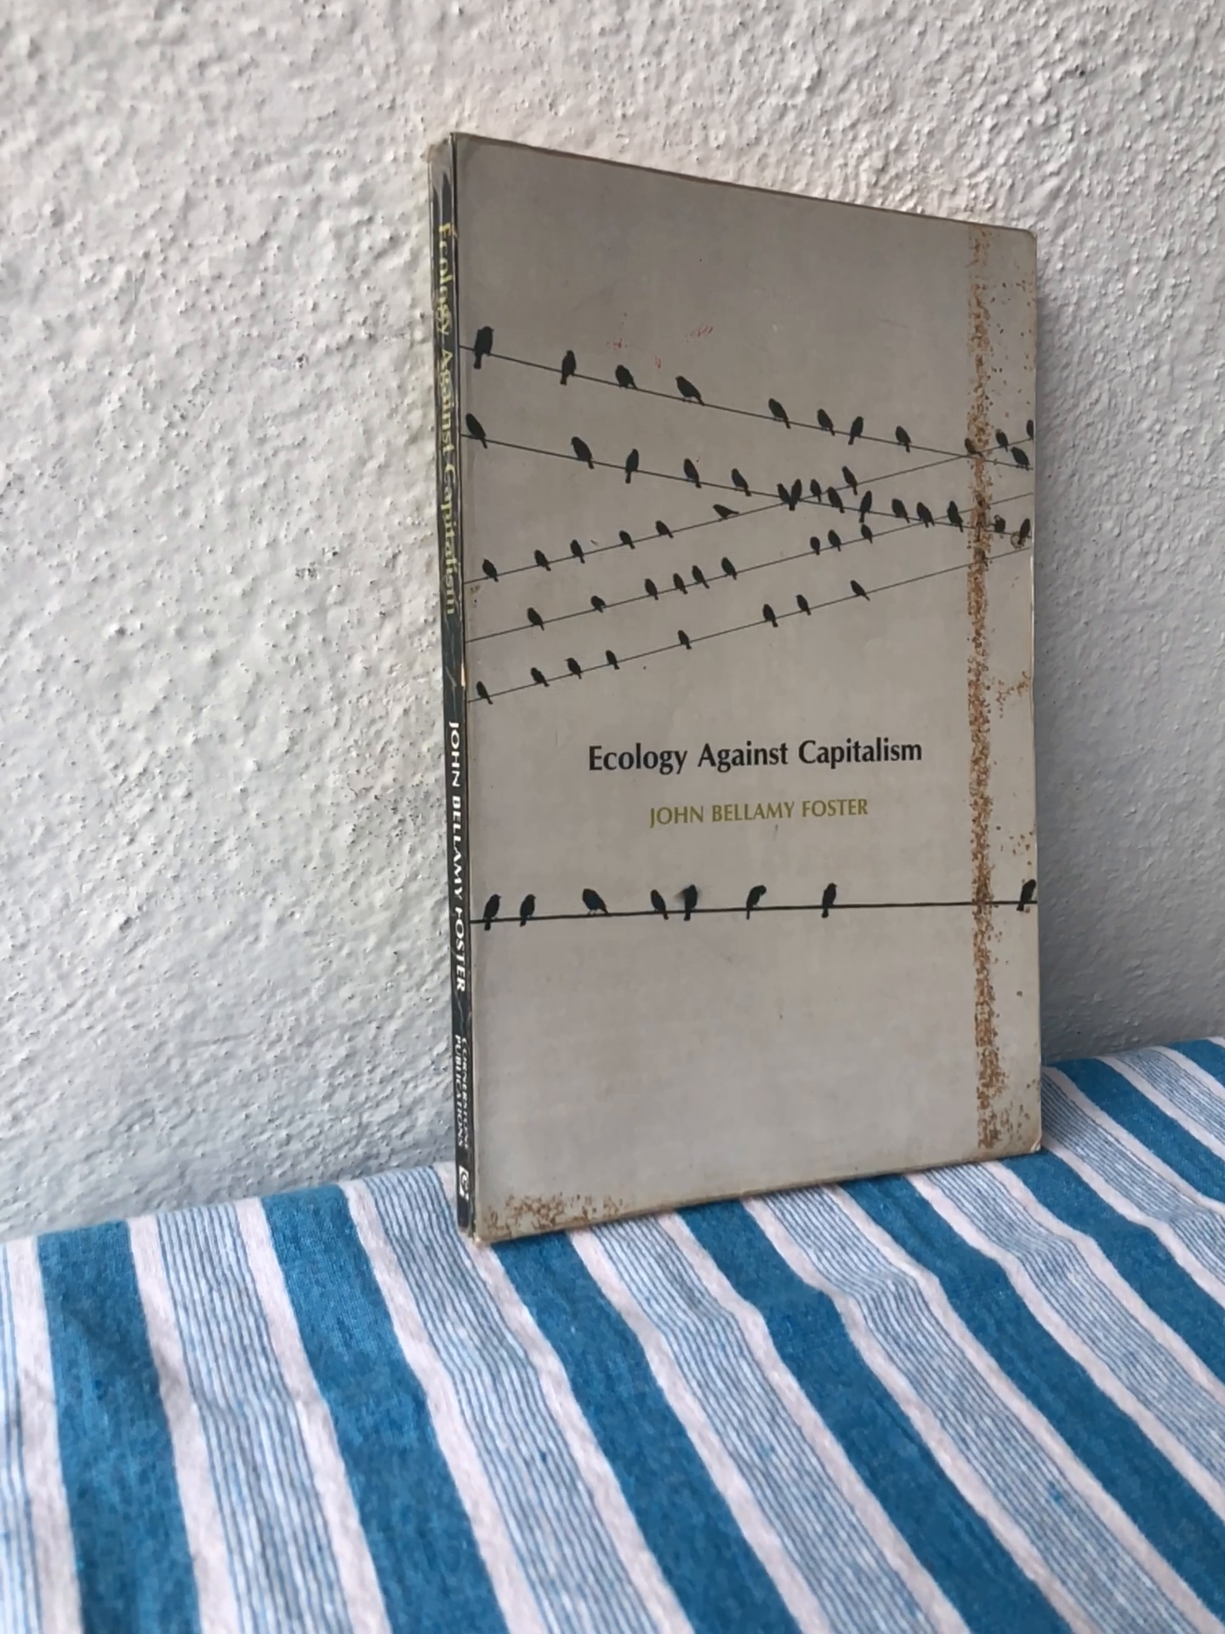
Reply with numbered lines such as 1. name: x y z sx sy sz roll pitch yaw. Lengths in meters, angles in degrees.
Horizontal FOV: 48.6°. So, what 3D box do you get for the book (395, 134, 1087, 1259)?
1. book: 0.031 -0.026 0.292 0.140 0.210 0.030 -3 2 -20
